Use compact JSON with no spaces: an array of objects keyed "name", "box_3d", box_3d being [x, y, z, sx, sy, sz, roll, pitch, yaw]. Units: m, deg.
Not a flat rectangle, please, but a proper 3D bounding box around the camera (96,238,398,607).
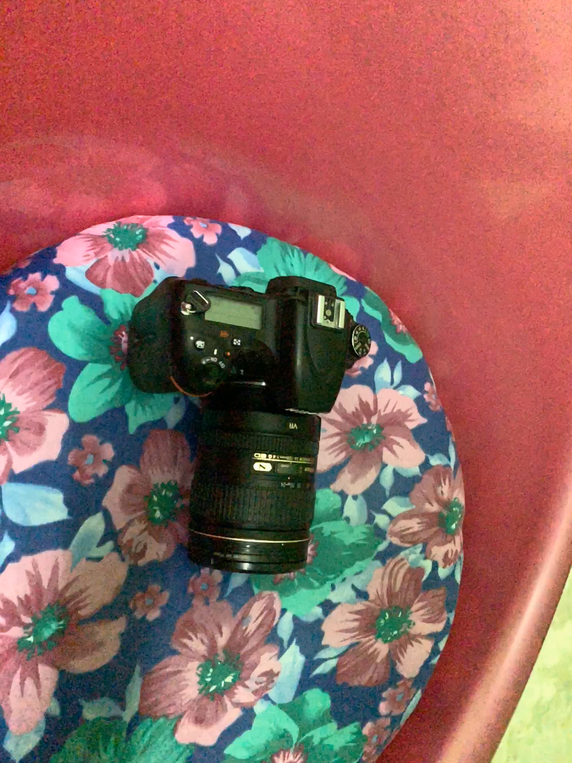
[{"name":"camera","box_3d":[-0.024,0.031,0.366,0.140,0.111,0.179,9,79,-29]}]
